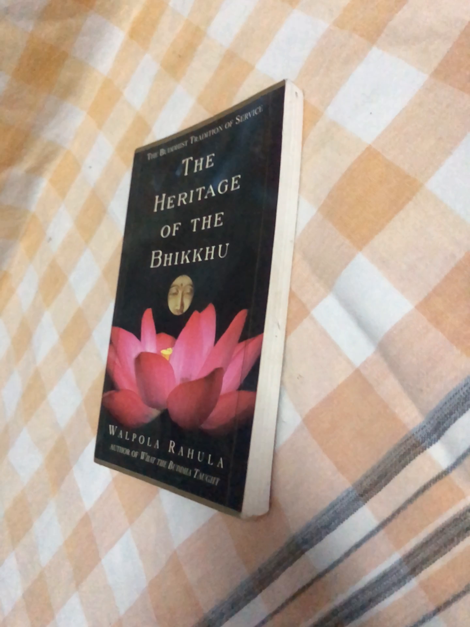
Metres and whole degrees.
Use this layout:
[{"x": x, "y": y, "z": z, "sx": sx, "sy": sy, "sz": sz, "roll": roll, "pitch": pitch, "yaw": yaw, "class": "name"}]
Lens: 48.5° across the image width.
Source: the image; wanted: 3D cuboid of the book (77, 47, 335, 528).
[{"x": -0.021, "y": -0.015, "z": 0.292, "sx": 0.140, "sy": 0.030, "sz": 0.220, "roll": -2, "pitch": 77, "yaw": 44, "class": "book"}]
